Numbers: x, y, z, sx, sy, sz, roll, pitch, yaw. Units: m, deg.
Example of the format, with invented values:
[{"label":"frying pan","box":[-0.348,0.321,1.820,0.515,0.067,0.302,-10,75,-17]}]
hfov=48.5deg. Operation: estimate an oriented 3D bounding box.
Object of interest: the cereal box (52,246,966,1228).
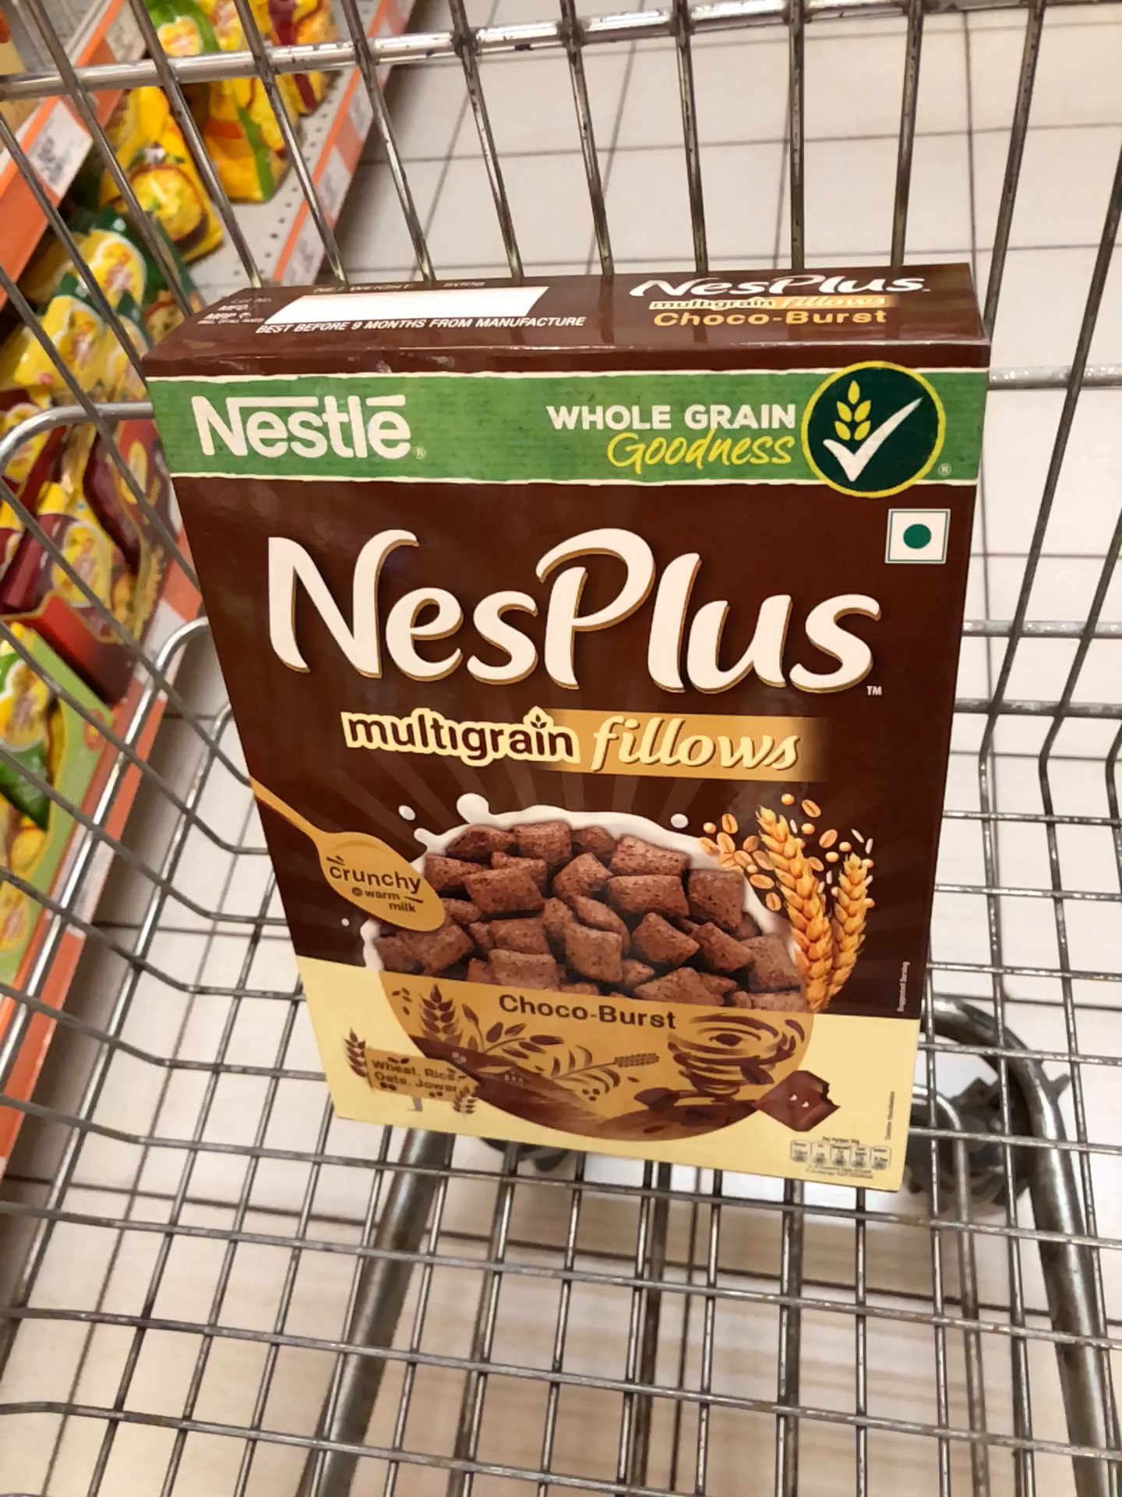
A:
[{"label":"cereal box","box":[-0.001,0.009,0.342,0.190,0.259,0.060,3,33,14]}]
